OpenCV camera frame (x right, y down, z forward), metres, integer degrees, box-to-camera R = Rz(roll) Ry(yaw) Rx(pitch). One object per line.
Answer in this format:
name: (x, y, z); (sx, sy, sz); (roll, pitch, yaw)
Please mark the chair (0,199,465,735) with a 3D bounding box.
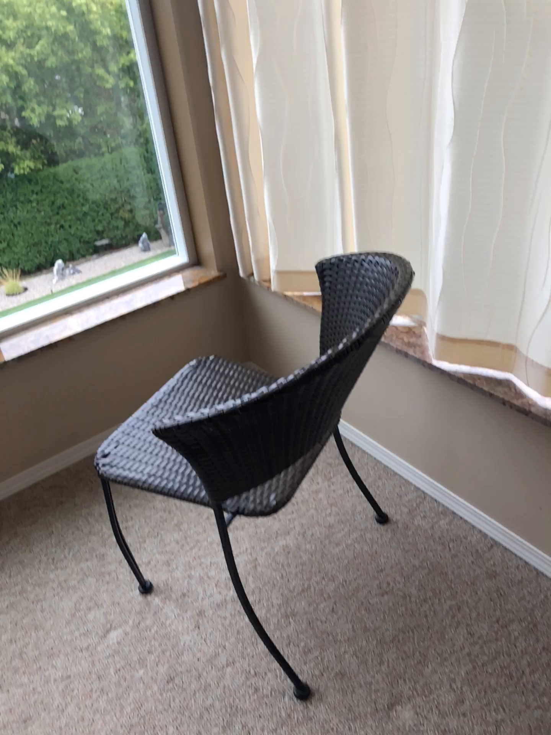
chair: (-0.021, 0.153, 1.253); (0.611, 0.787, 0.561); (13, 38, 27)
